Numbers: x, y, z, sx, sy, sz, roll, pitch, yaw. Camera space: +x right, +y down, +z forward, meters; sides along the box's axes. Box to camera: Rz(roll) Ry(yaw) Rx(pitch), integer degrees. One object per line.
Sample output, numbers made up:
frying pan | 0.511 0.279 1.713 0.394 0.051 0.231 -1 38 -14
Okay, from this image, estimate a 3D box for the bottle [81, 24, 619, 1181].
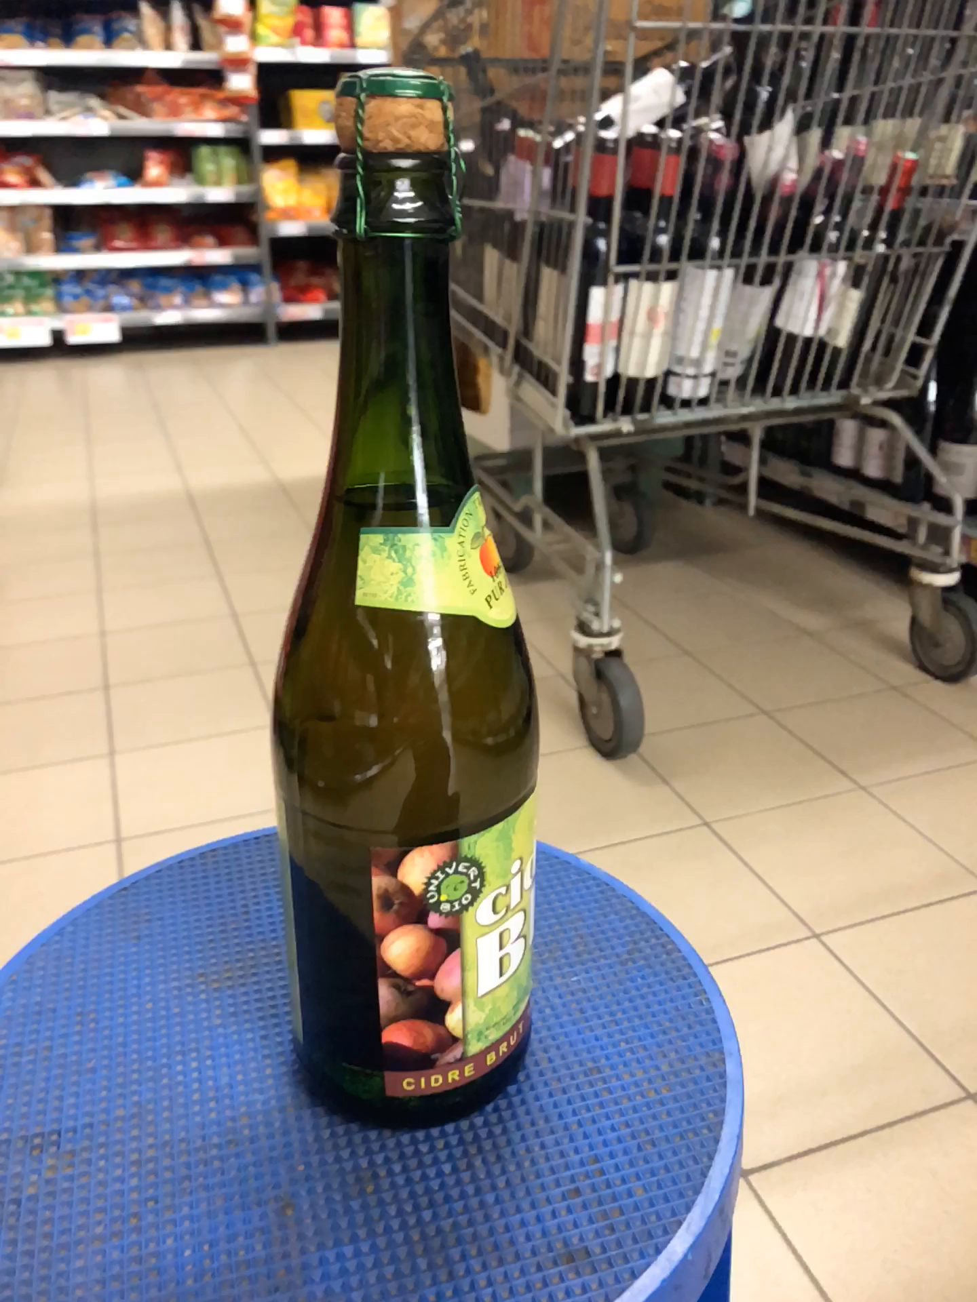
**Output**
bottle | -0.026 -0.006 0.311 0.090 0.289 0.091 -1 23 0
